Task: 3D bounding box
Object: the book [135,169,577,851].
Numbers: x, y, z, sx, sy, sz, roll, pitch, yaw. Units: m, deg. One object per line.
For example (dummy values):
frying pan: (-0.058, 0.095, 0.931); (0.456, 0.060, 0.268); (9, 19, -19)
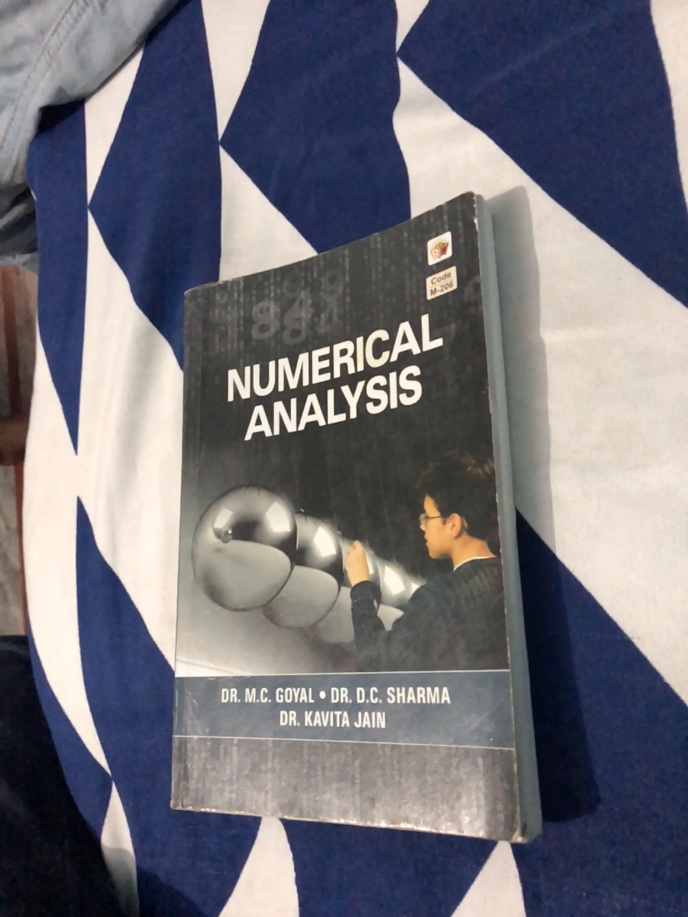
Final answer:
book: (-0.006, 0.018, 0.259); (0.140, 0.030, 0.190); (-10, 74, 30)
